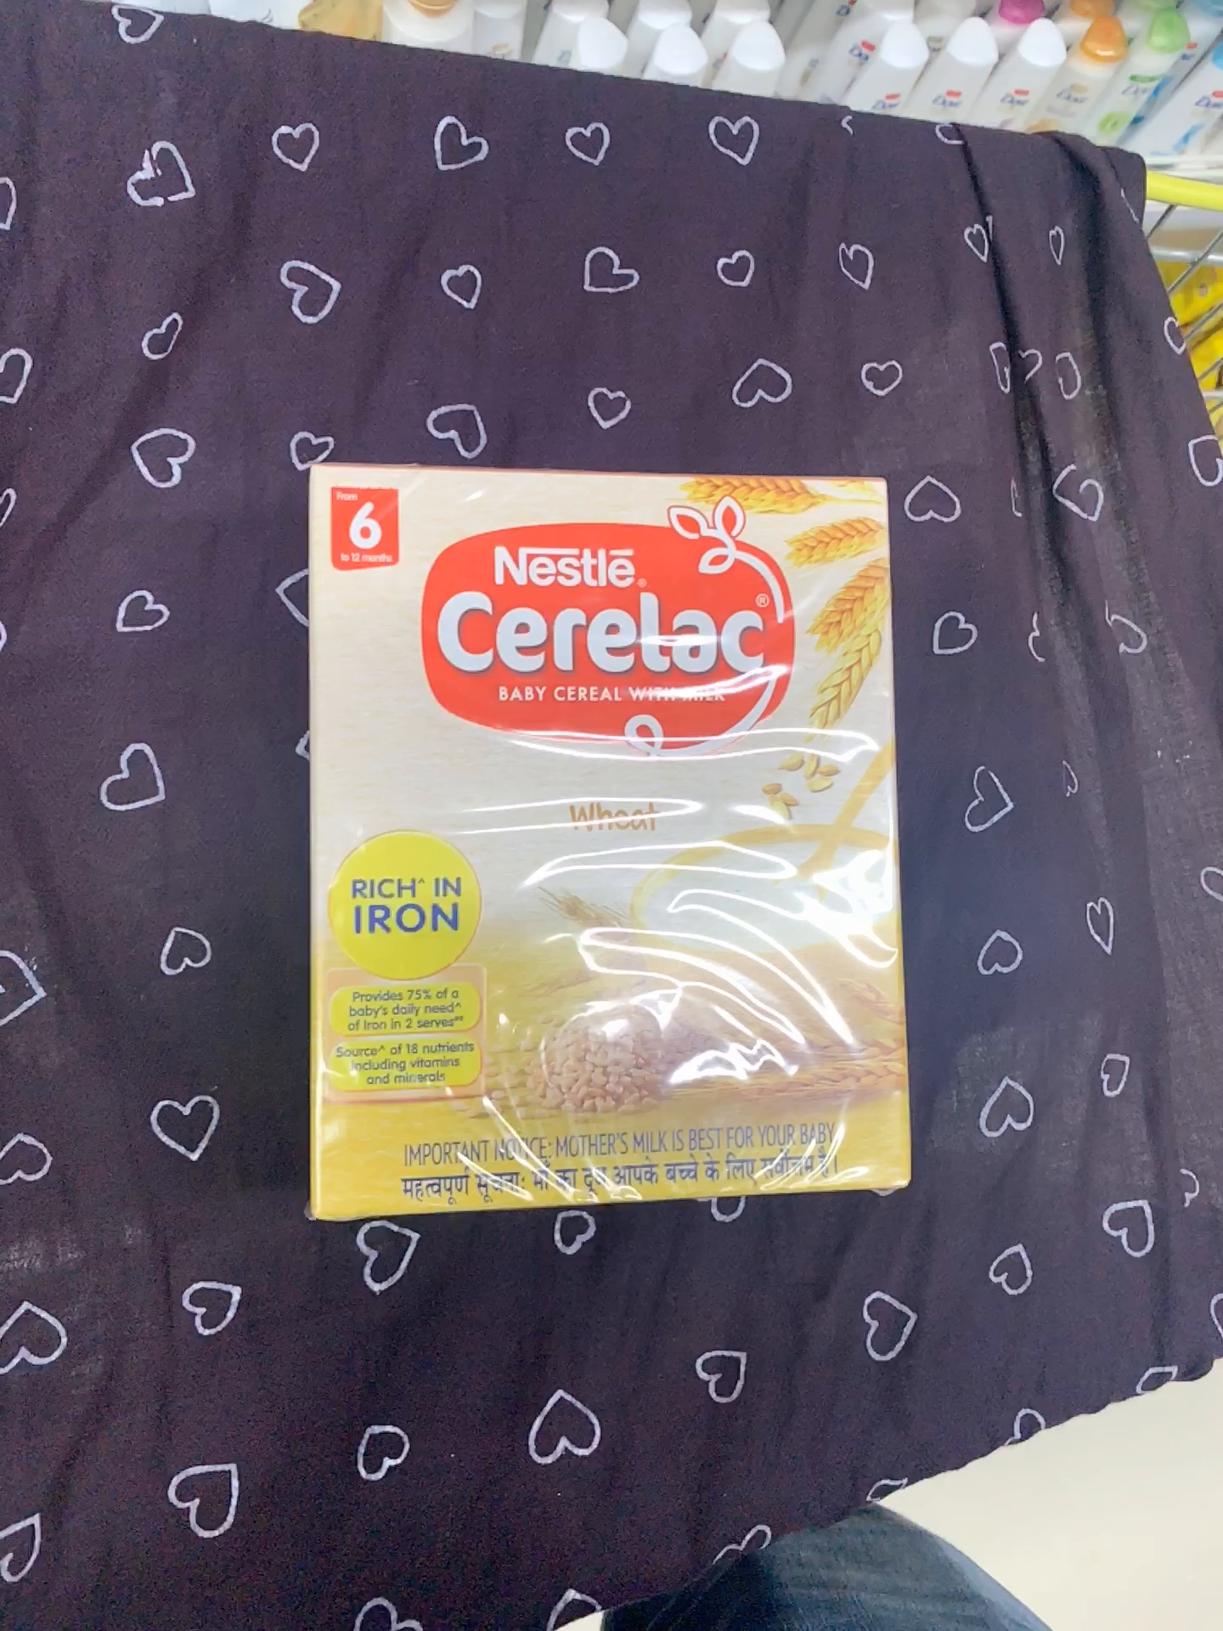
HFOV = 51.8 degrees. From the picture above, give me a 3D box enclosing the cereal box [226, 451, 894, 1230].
[{"bbox_3d":[-0.012,0.005,0.288,0.140,0.040,0.160,0,87,-8],"label":"cereal box"}]
